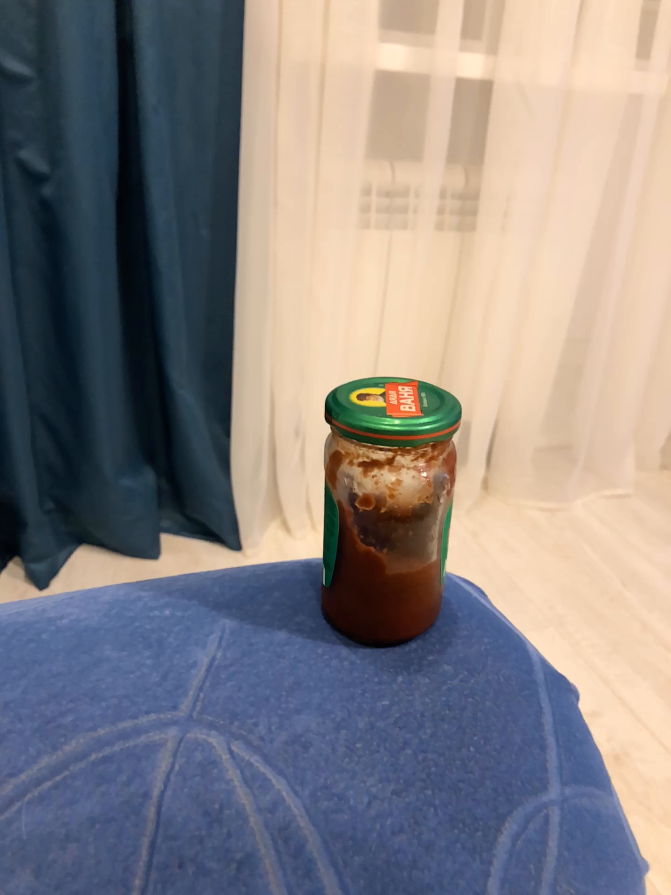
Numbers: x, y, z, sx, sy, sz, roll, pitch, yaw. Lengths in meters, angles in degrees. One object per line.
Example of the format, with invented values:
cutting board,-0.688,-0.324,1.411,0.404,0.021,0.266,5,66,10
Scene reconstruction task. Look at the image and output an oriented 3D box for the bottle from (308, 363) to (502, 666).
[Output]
bottle,0.022,0.023,0.278,0.060,0.092,0.060,1,25,0
